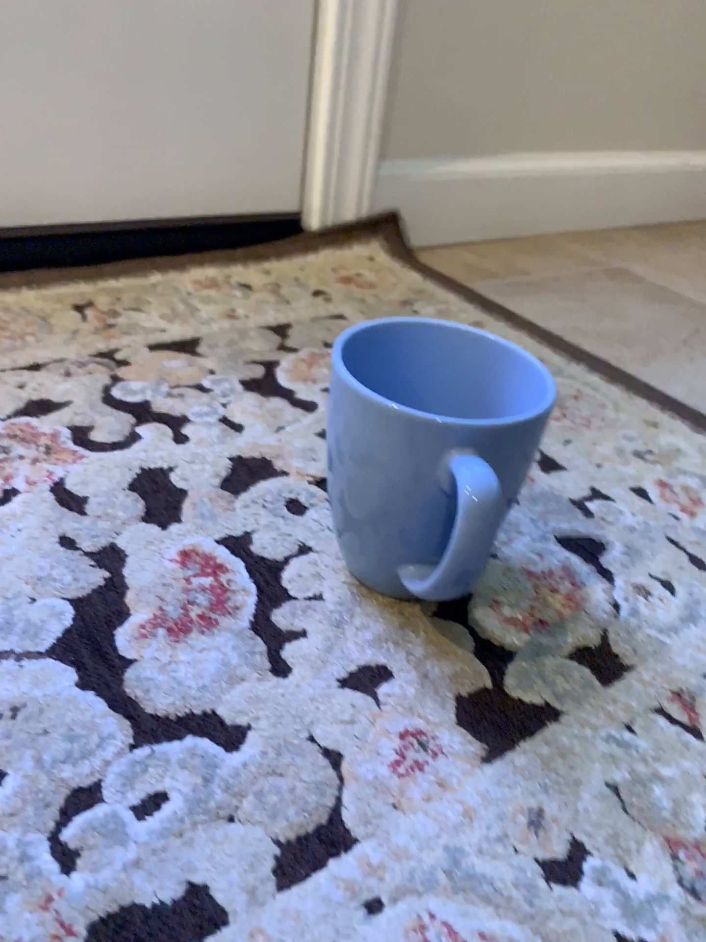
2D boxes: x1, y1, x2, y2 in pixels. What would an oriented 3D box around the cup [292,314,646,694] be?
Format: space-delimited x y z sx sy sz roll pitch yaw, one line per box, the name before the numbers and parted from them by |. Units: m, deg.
cup | 0.030 0.006 0.290 0.090 0.089 0.121 0 35 -12
